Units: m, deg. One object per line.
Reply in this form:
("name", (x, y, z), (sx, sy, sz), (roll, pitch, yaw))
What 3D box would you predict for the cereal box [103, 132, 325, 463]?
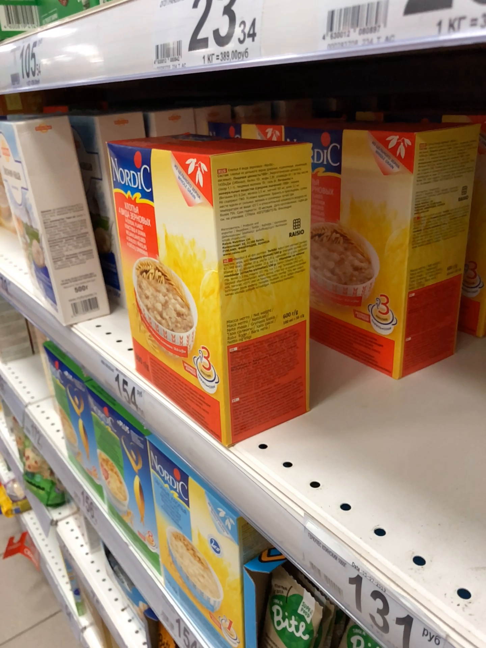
("cereal box", (-0.023, -0.032, 0.399), (0.080, 0.199, 0.151), (-18, 27, -32))
